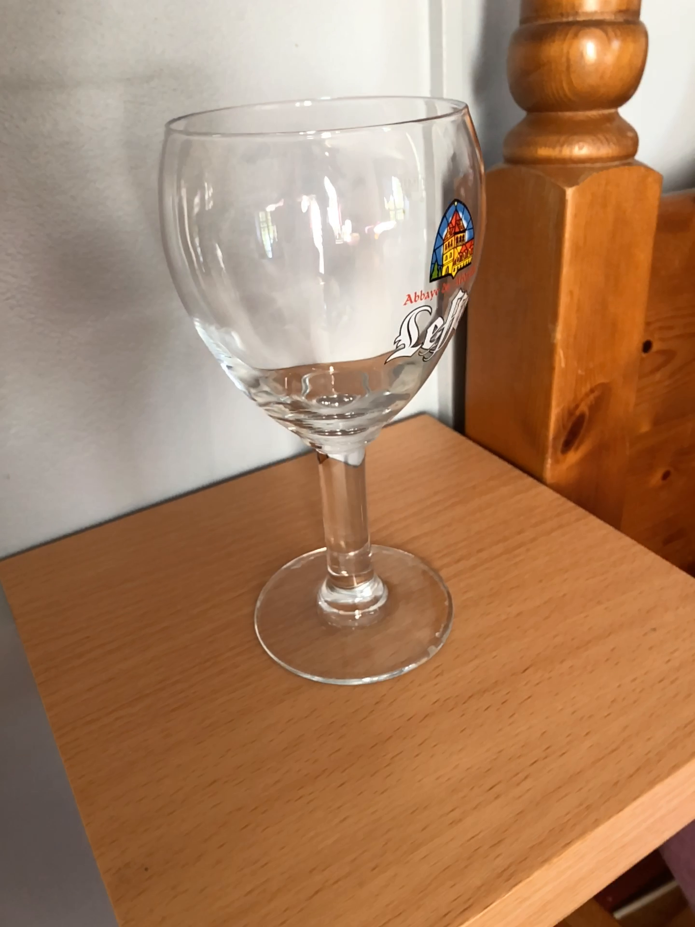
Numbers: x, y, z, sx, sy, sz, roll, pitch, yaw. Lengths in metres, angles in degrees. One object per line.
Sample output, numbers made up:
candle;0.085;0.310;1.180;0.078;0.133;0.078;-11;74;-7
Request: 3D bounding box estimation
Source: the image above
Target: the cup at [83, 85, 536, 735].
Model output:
cup;-0.007;-0.026;0.273;0.096;0.185;0.100;-3;25;2
